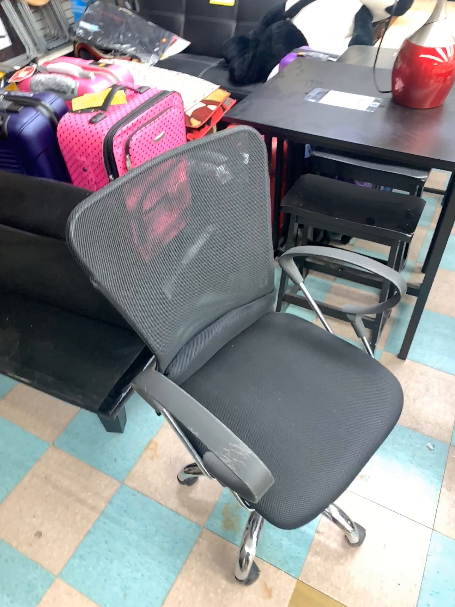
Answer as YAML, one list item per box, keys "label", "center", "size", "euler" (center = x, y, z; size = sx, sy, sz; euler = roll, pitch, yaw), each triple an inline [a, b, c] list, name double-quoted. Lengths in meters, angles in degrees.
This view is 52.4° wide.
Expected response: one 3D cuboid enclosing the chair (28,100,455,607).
- label: "chair"
  center: [0.132, 0.209, 1.092]
  size: [0.602, 1.020, 0.621]
  euler: [32, 54, 30]
